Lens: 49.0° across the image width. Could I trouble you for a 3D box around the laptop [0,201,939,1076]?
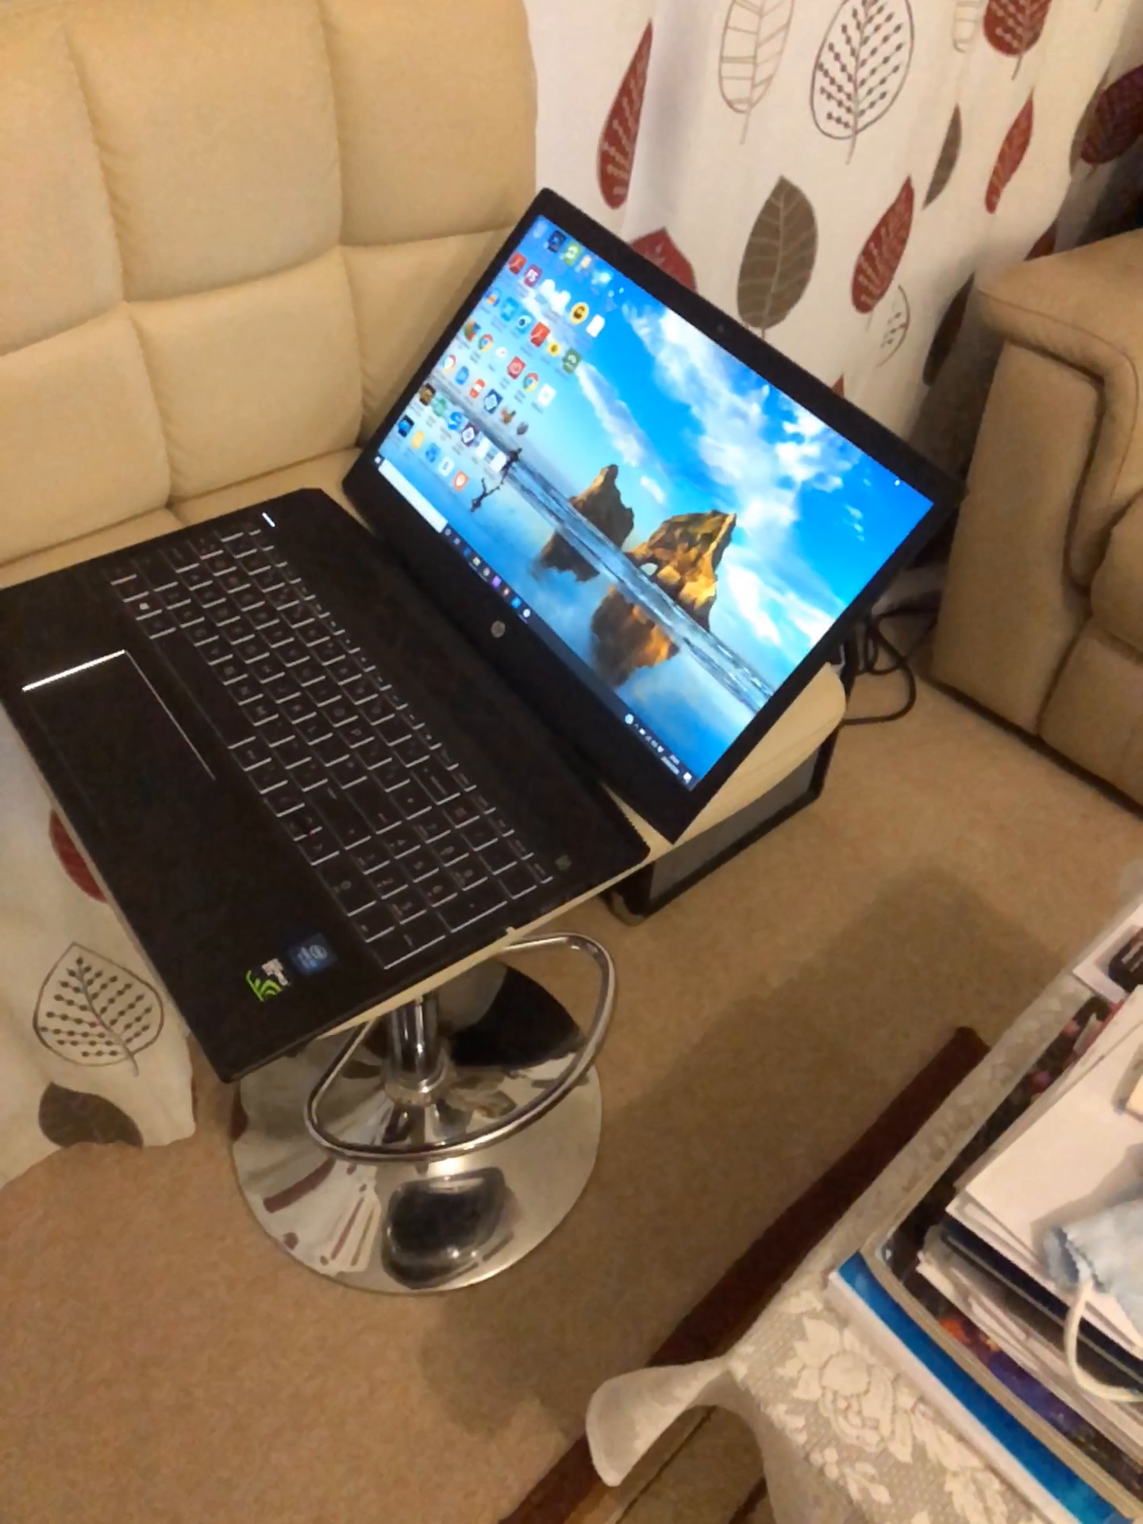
[{"bbox_3d":[-0.090,-0.107,0.654,0.401,0.159,0.349,-25,55,-27],"label":"laptop"}]
